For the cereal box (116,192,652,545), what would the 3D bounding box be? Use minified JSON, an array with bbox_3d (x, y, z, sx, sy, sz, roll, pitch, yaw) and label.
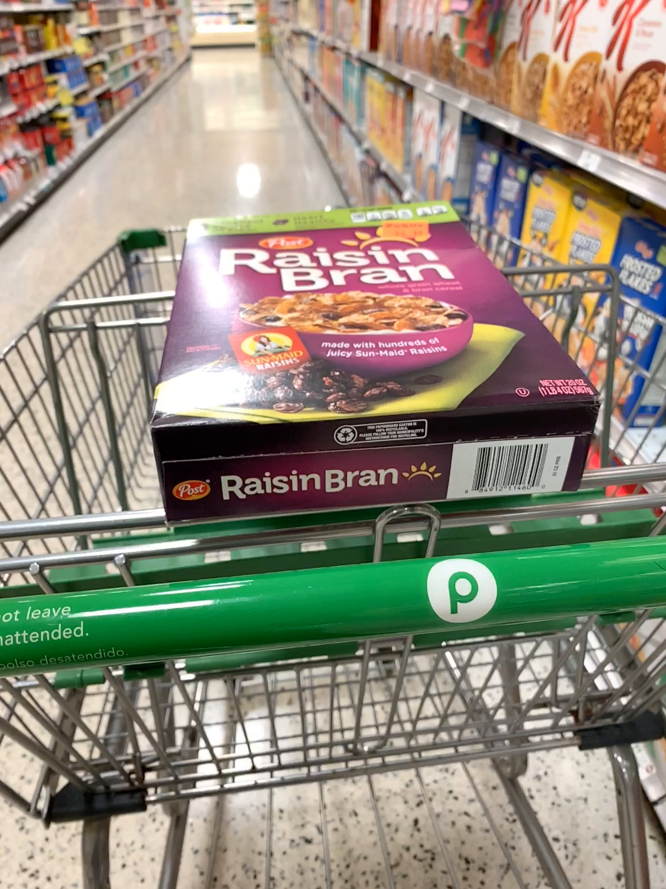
[{"bbox_3d":[0.007,-0.071,0.401,0.210,0.059,0.283,-5,35,-5],"label":"cereal box"}]
